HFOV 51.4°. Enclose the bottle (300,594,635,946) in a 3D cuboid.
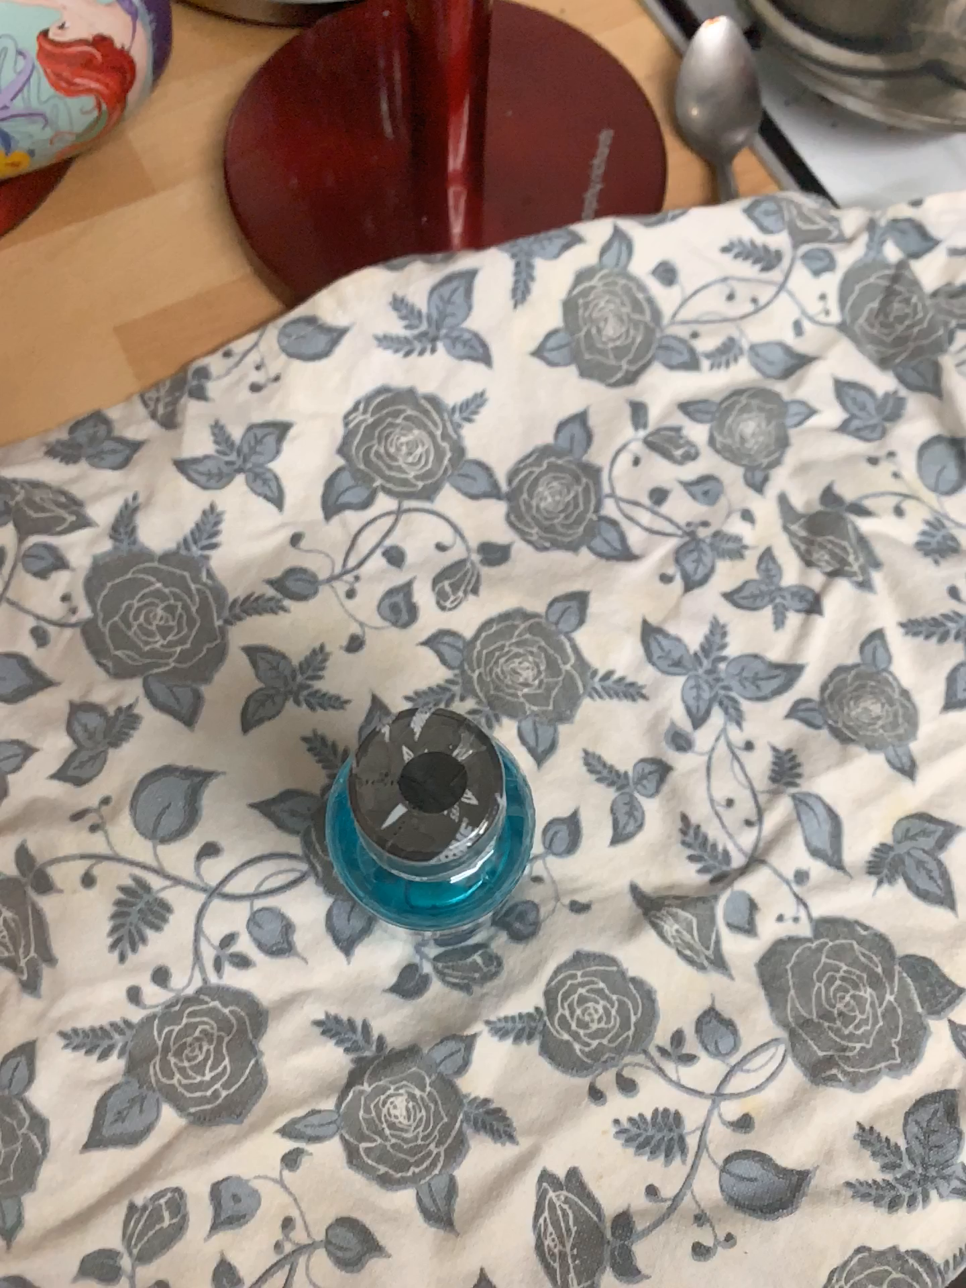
[{"bbox_3d":[-0.005,0.034,0.210,0.050,0.110,0.050,1,70,-2],"label":"bottle"}]
